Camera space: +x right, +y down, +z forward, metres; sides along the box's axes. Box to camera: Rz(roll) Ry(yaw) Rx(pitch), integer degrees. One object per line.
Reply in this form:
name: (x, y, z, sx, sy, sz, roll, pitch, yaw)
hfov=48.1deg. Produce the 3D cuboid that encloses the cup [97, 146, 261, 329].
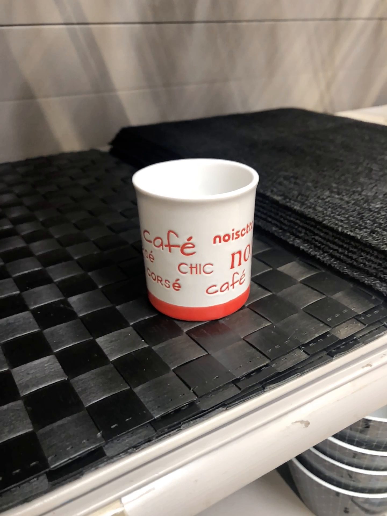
cup: (0.000, -0.018, 0.245, 0.067, 0.064, 0.097, 4, 28, 10)
